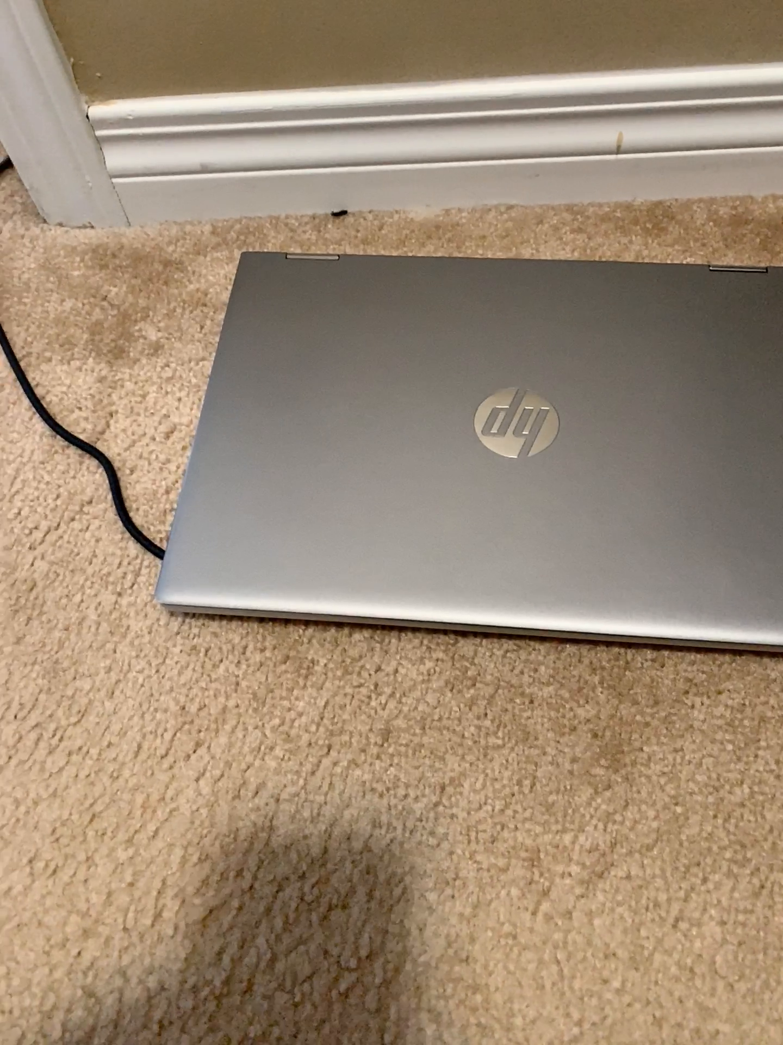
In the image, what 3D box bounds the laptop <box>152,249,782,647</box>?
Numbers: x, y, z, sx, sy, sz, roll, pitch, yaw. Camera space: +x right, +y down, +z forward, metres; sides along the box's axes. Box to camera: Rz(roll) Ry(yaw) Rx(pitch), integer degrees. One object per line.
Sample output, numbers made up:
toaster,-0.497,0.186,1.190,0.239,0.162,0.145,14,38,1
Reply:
laptop,0.065,-0.052,0.399,0.319,0.001,0.222,3,60,3
